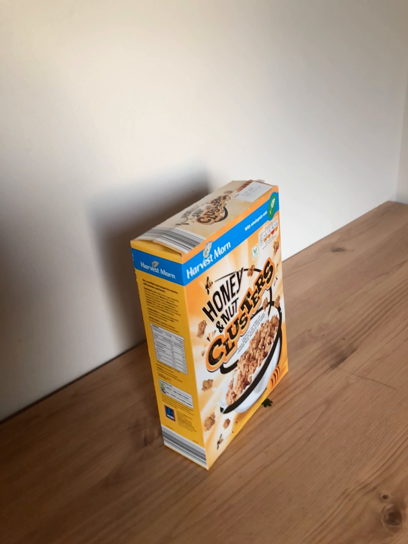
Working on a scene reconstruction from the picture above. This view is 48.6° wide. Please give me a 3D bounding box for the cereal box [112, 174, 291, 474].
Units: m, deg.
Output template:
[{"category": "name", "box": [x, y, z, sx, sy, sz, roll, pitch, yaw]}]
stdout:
[{"category": "cereal box", "box": [0.018, 0.048, 0.486, 0.070, 0.248, 0.191, 15, 35, 33]}]
